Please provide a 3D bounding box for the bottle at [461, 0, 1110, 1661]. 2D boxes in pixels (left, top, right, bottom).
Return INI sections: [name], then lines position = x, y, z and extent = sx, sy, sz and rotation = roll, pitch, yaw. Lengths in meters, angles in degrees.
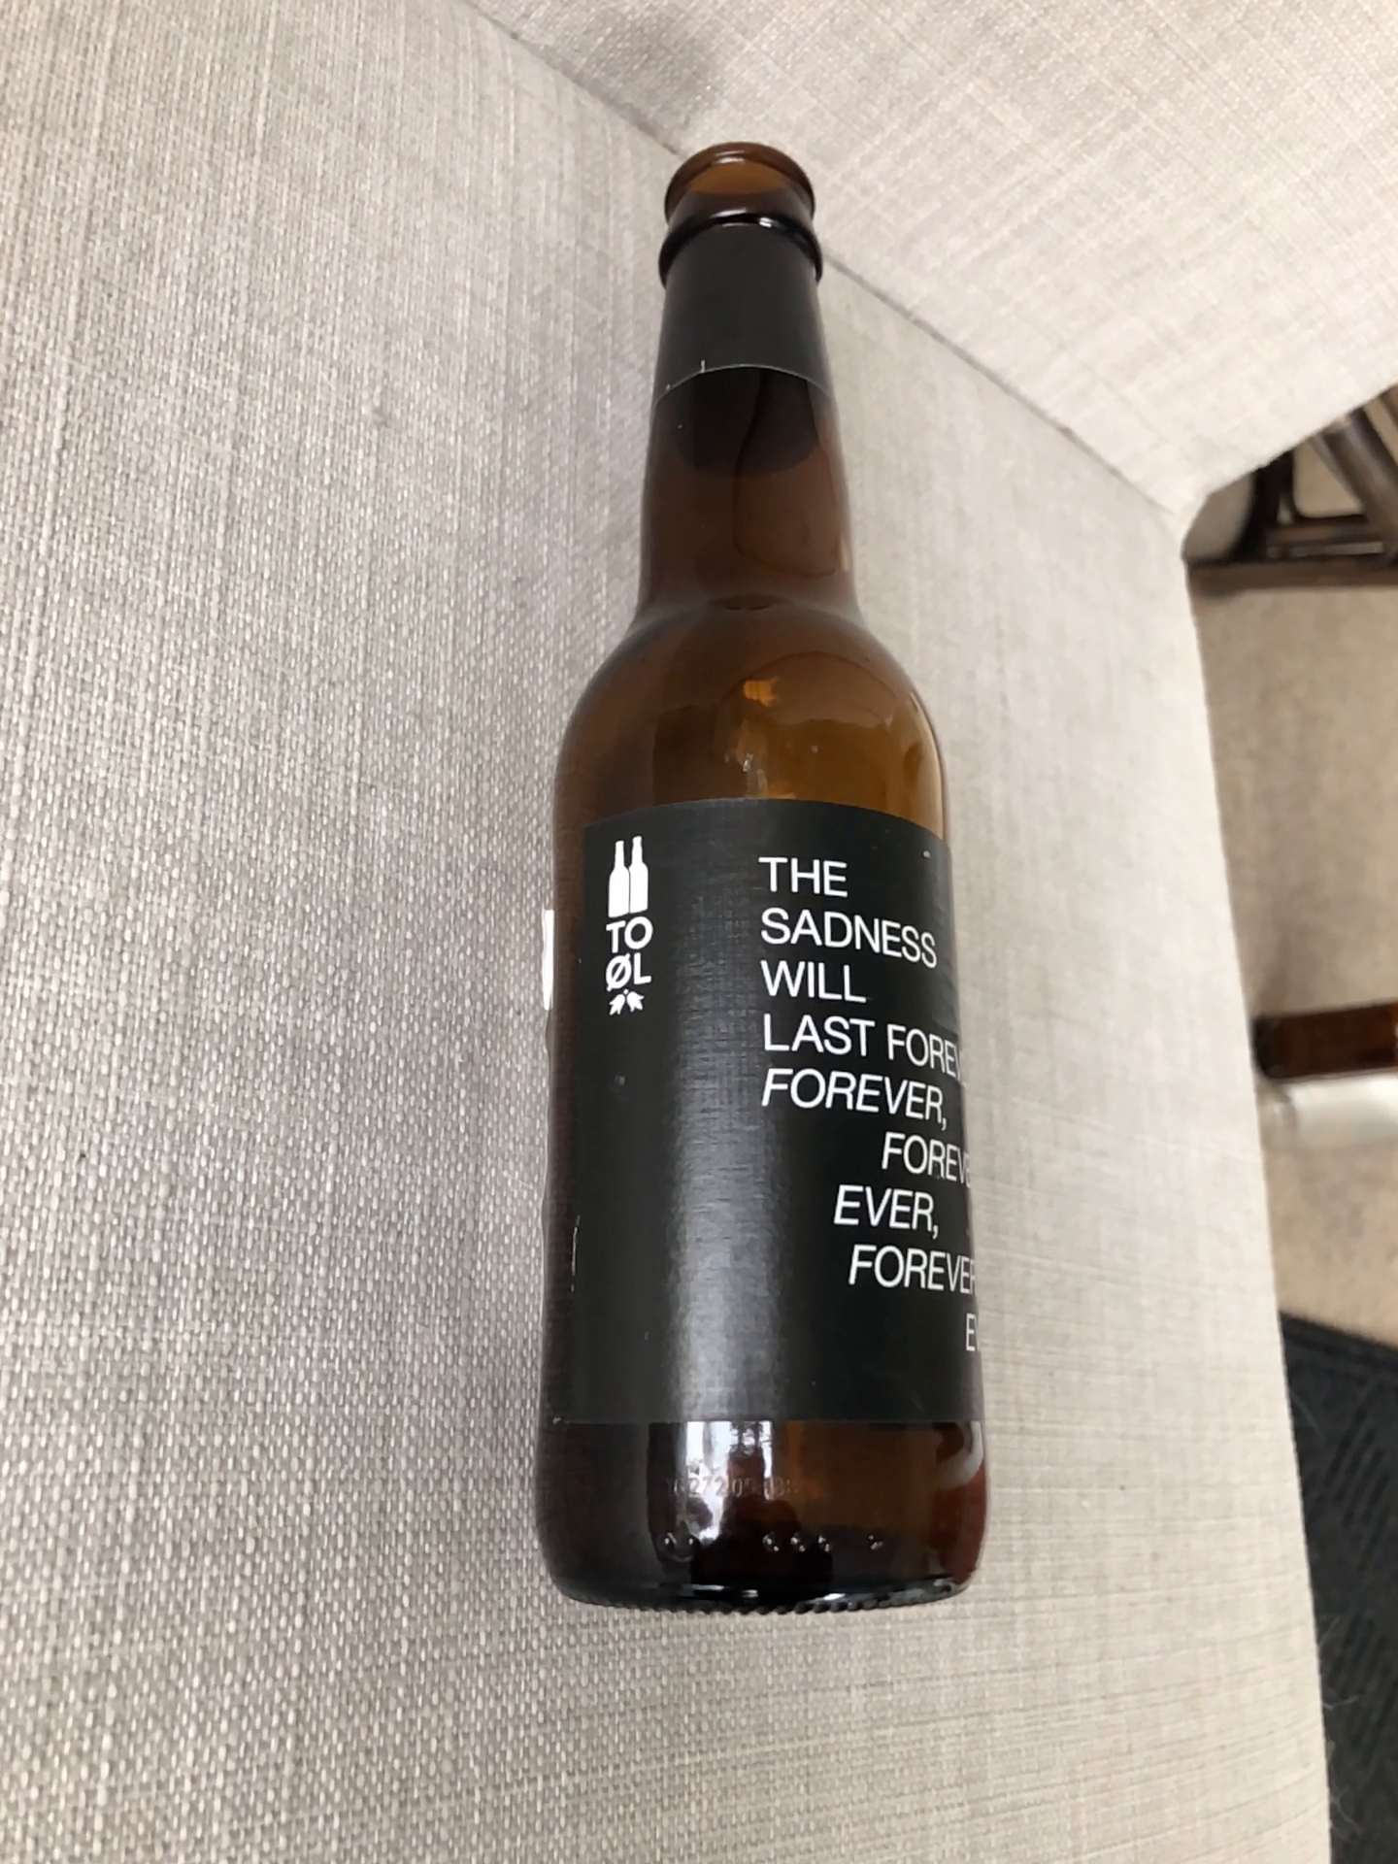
[bottle]
position = 0.014, -0.027, 0.238
extent = 0.060, 0.060, 0.239
rotation = 17, 68, -43
